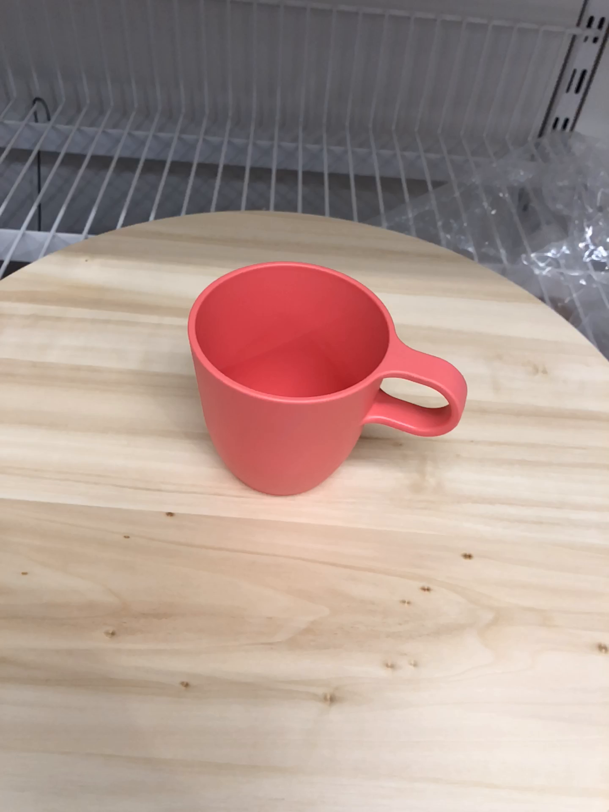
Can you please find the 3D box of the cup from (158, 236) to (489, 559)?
[{"bbox_3d":[0.009,-0.005,0.291,0.110,0.080,0.080,15,47,9],"label":"cup"}]
